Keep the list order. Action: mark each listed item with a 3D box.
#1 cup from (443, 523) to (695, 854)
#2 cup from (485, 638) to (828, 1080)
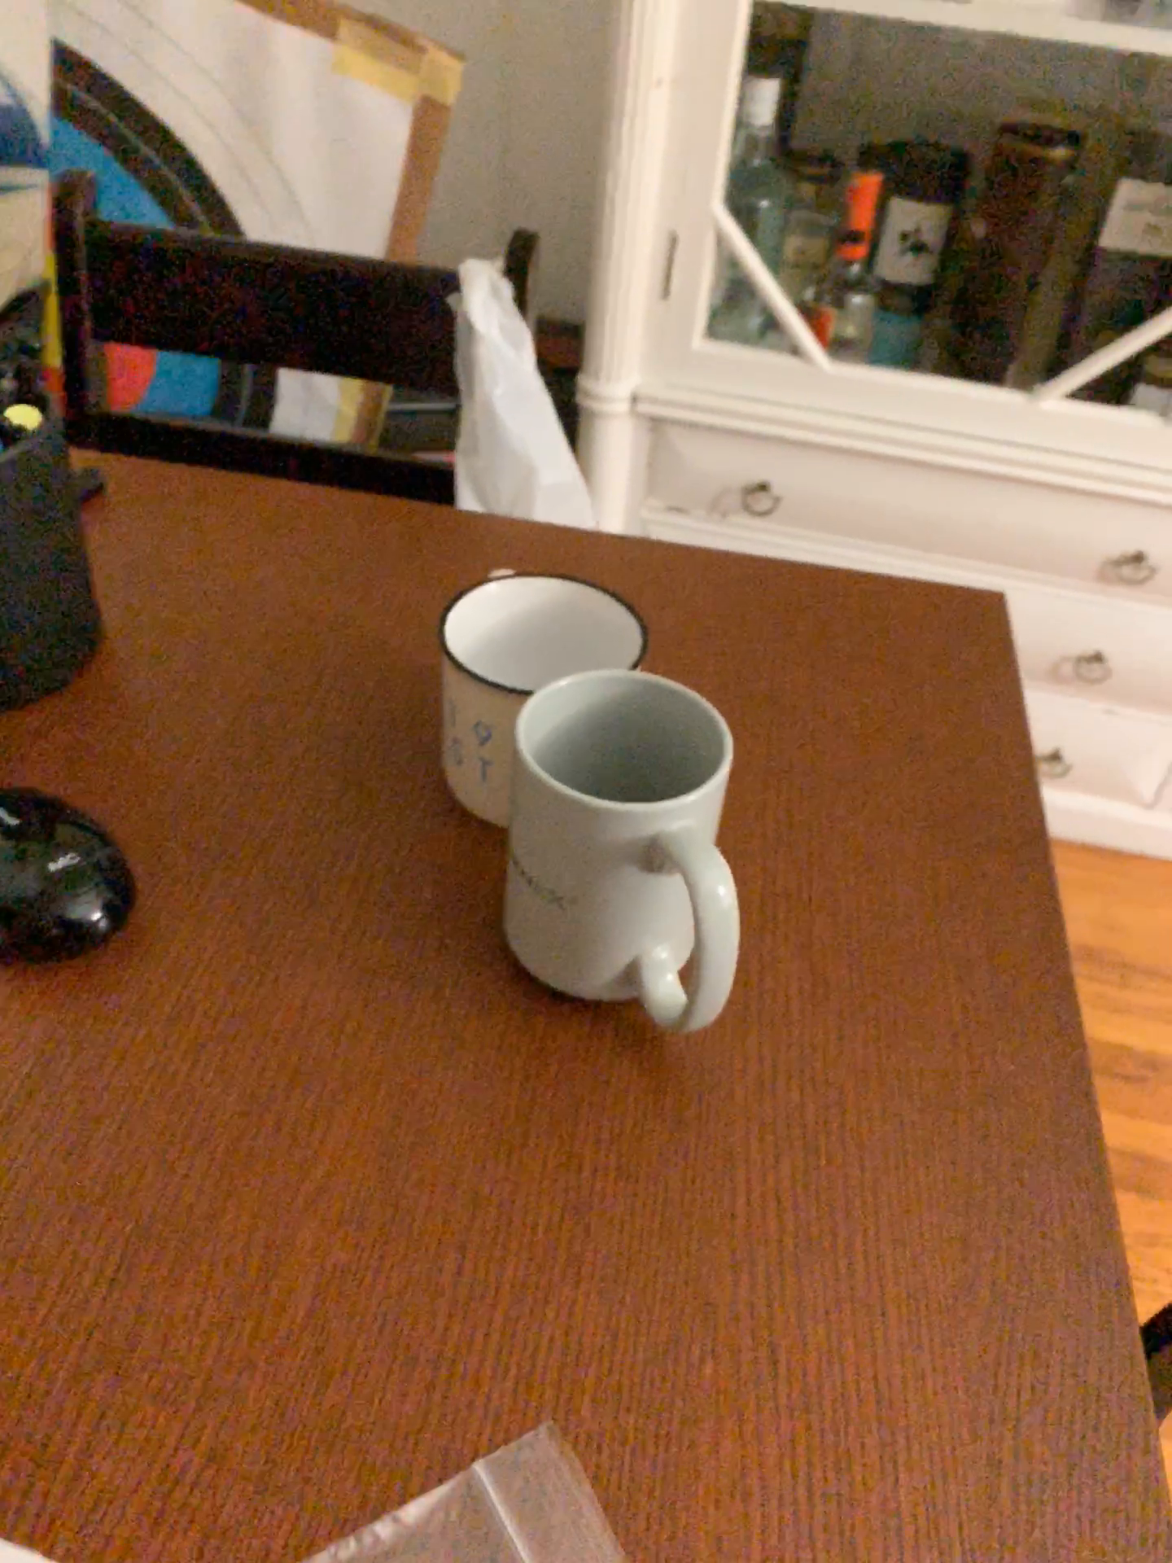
[{"bbox_3d":[-0.016,-0.049,0.589,0.100,0.099,0.131,-2,41,-9],"label":"cup"},{"bbox_3d":[0.017,0.026,0.481,0.100,0.099,0.141,-2,41,-9],"label":"cup"}]
